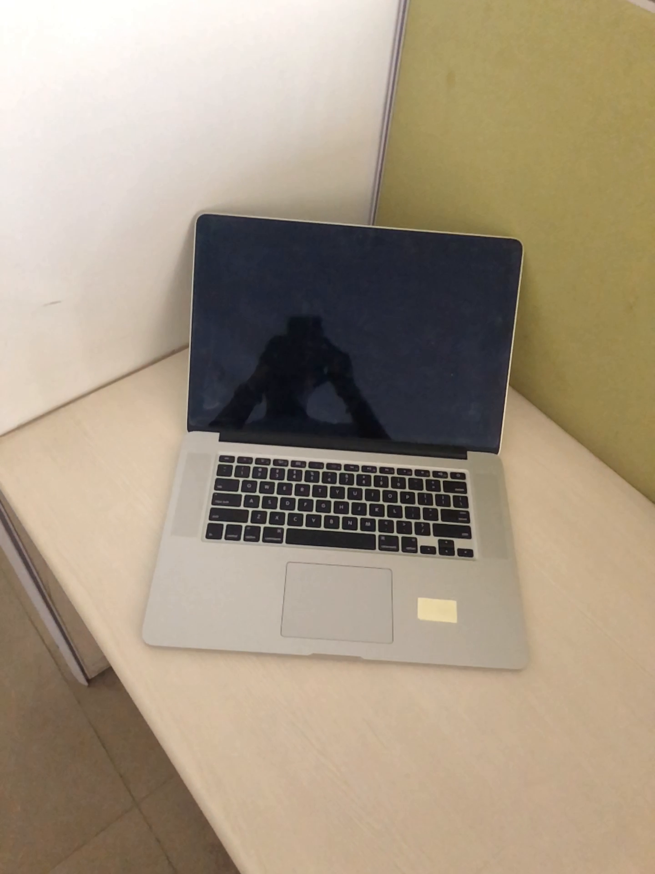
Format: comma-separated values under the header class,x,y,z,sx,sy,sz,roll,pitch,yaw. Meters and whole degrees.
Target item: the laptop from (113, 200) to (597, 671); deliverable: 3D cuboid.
class,x,y,z,sx,sy,sz,roll,pitch,yaw
laptop,0.022,-0.018,0.693,0.345,0.163,0.405,4,53,-2
